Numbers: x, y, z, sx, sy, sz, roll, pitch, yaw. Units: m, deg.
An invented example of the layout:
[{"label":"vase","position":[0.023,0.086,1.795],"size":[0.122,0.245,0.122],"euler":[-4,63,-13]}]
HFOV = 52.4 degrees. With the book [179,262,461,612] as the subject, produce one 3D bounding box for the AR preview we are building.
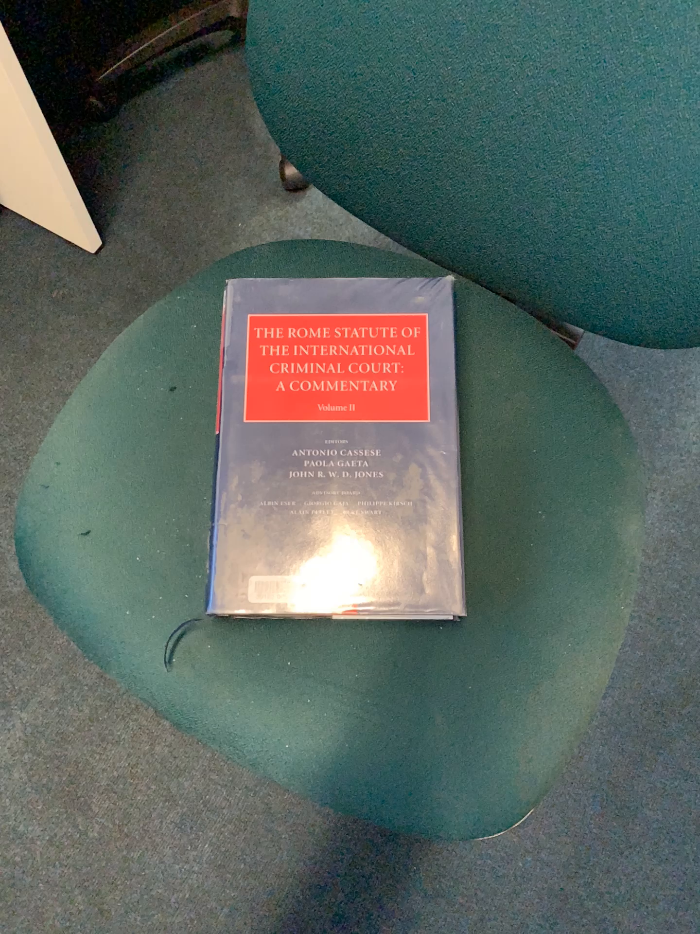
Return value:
[{"label":"book","position":[-0.020,-0.023,0.543],"size":[0.188,0.070,0.256],"euler":[0,74,1]}]
